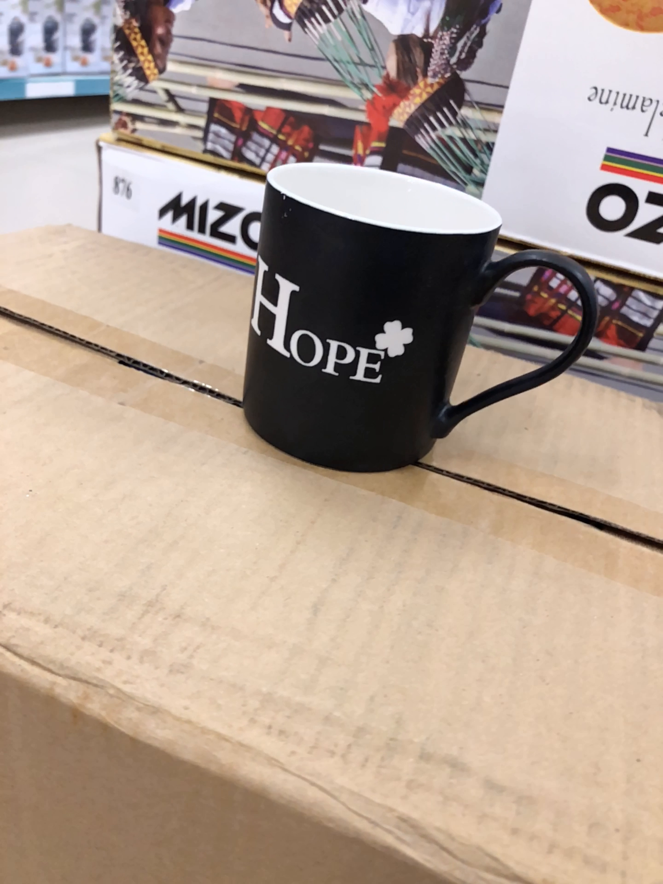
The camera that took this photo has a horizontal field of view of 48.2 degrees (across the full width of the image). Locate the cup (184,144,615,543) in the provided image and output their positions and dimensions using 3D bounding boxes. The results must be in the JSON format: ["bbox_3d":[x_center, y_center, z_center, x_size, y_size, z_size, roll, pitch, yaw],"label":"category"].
[{"bbox_3d":[0.025,-0.043,0.269,0.120,0.089,0.091,17,31,10],"label":"cup"}]
